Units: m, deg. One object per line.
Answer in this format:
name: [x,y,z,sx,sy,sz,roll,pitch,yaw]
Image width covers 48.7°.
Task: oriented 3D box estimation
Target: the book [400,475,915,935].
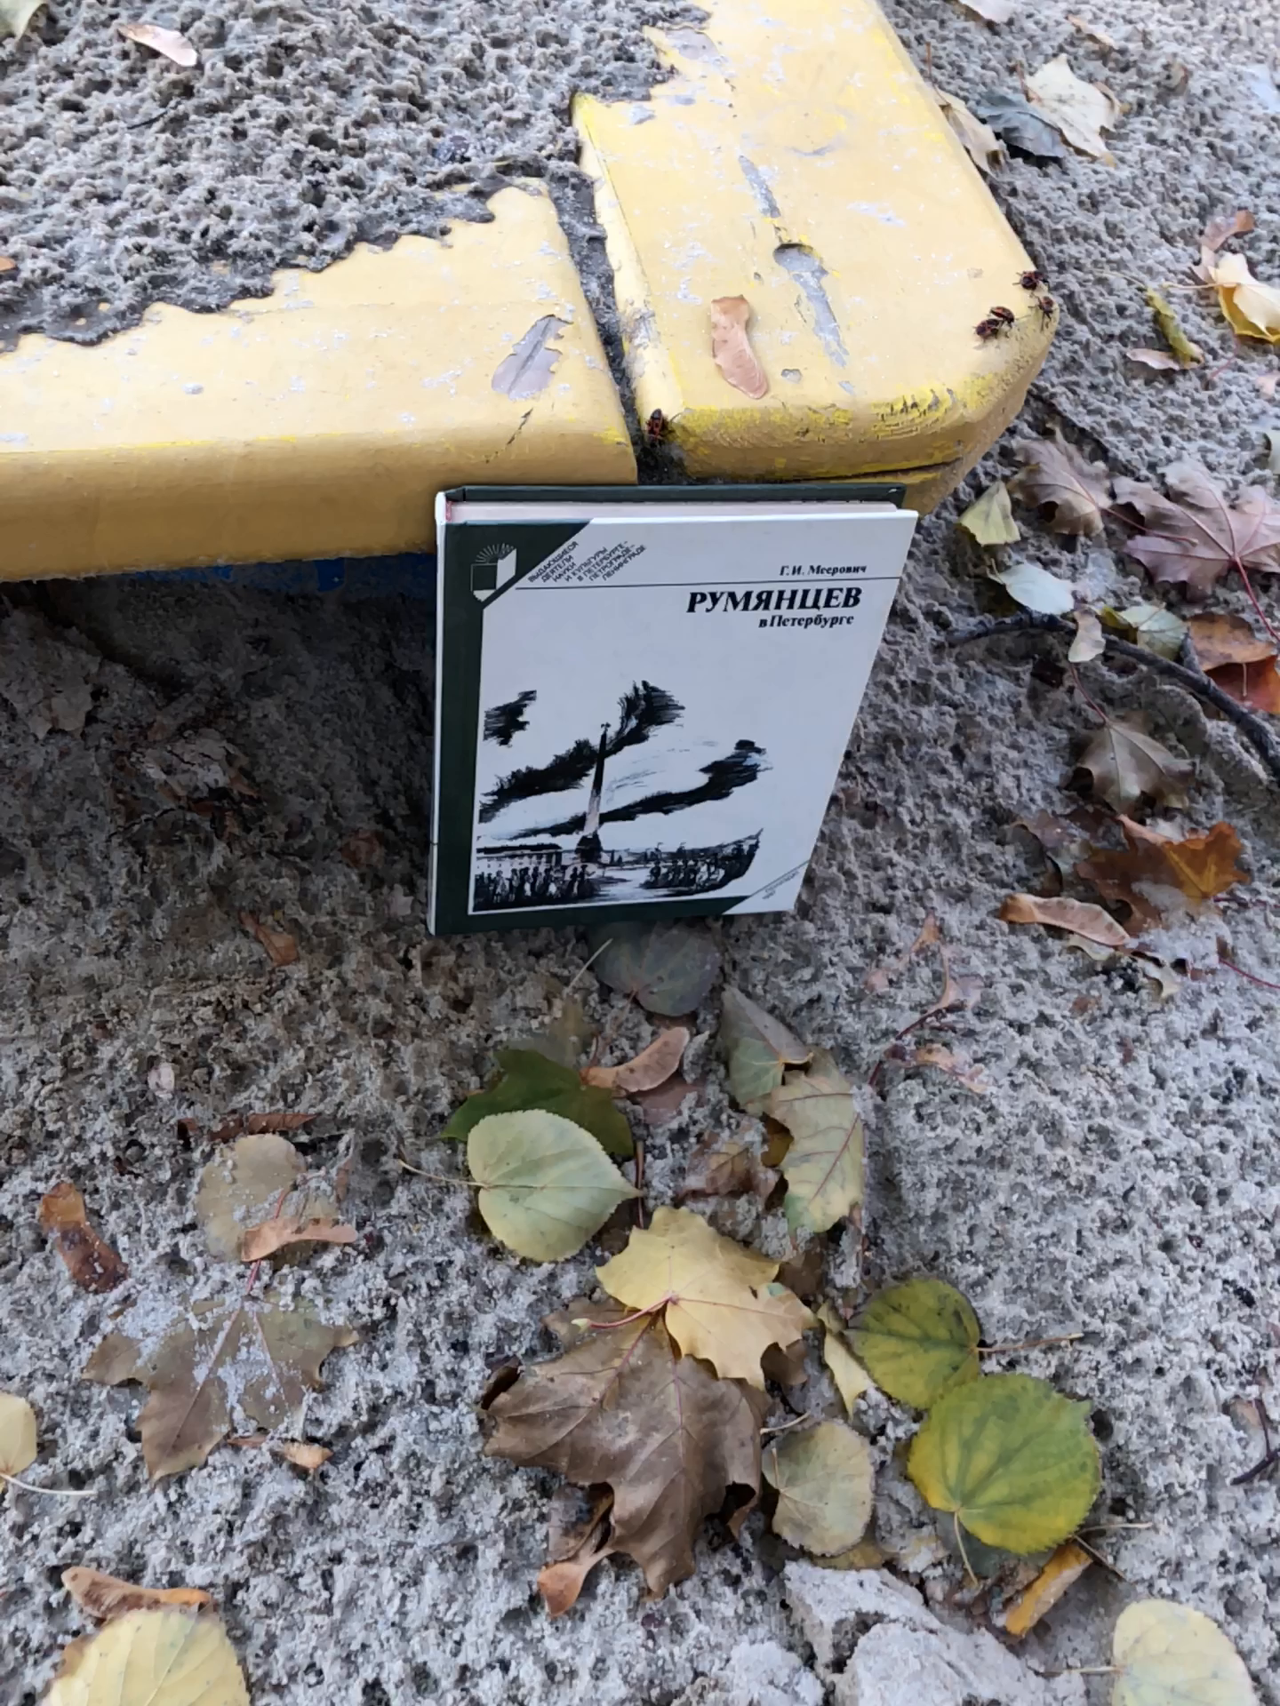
book: [0.002,-0.040,0.440,0.140,0.155,0.020,-2,41,-6]
